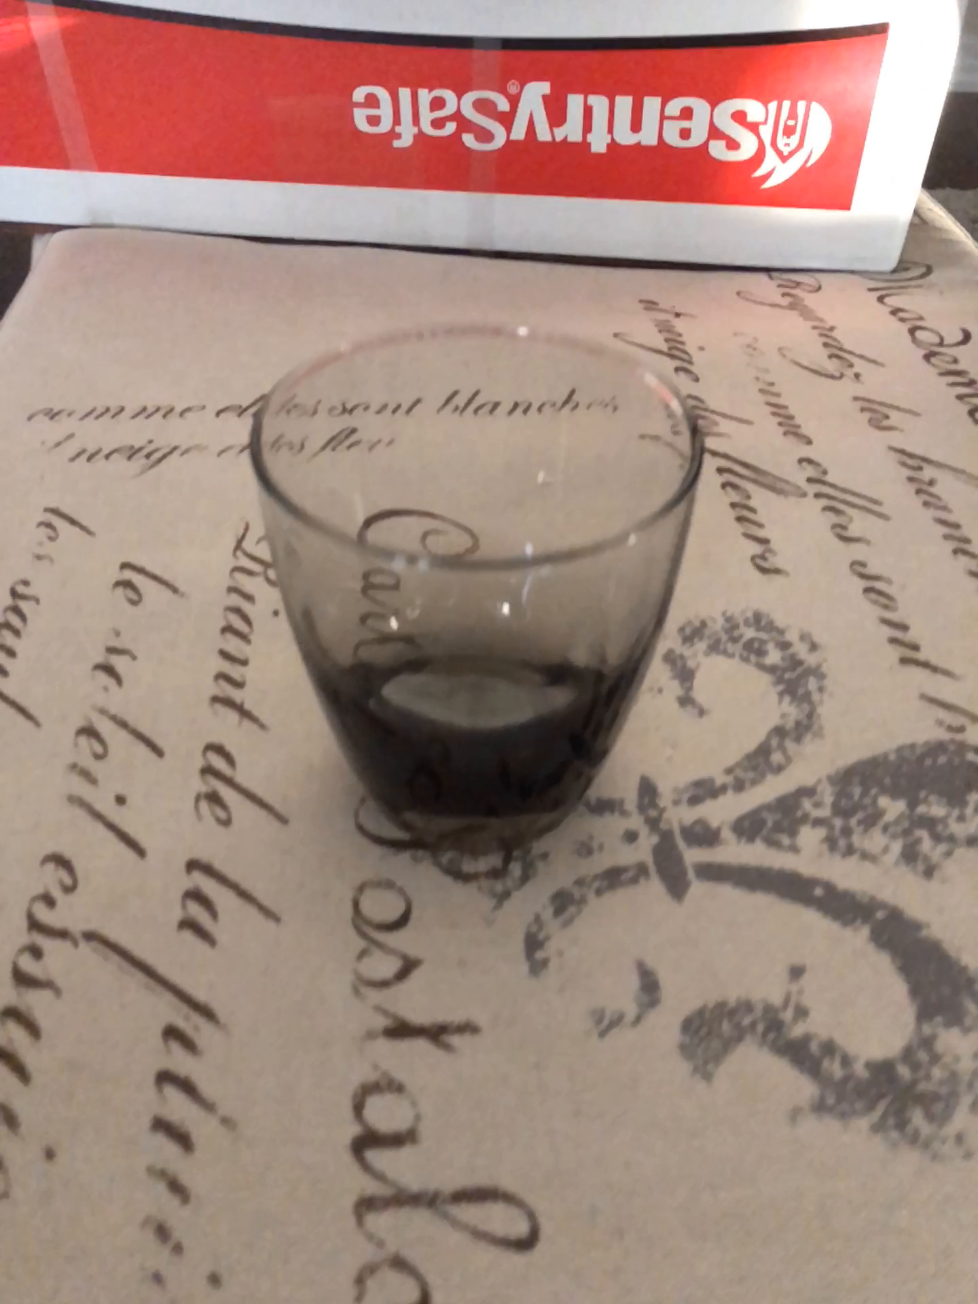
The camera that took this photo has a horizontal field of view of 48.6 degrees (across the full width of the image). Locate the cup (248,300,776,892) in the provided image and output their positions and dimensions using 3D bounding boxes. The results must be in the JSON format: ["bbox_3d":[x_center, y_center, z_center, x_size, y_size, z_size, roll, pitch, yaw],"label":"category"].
[{"bbox_3d":[-0.002,-0.014,0.242,0.088,0.092,0.088,1,43,-1],"label":"cup"}]
